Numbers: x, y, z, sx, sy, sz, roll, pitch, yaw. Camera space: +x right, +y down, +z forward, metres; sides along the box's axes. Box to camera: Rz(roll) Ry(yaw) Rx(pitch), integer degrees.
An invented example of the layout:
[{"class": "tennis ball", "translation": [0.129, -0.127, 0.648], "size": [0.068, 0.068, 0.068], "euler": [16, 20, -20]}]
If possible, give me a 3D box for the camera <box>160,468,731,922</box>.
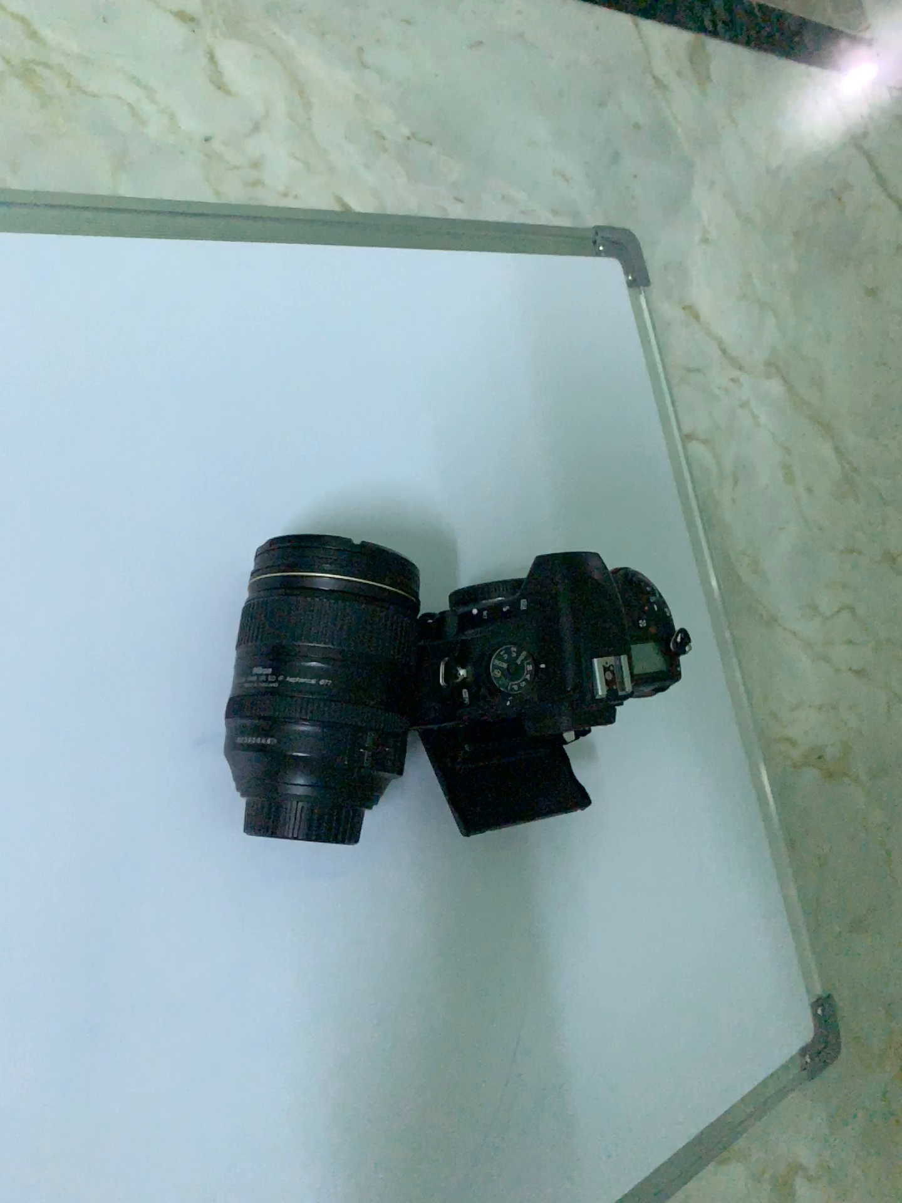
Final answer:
[{"class": "camera", "translation": [0.005, 0.032, 0.457], "size": [0.241, 0.100, 0.160], "euler": [-10, 86, -35]}]
